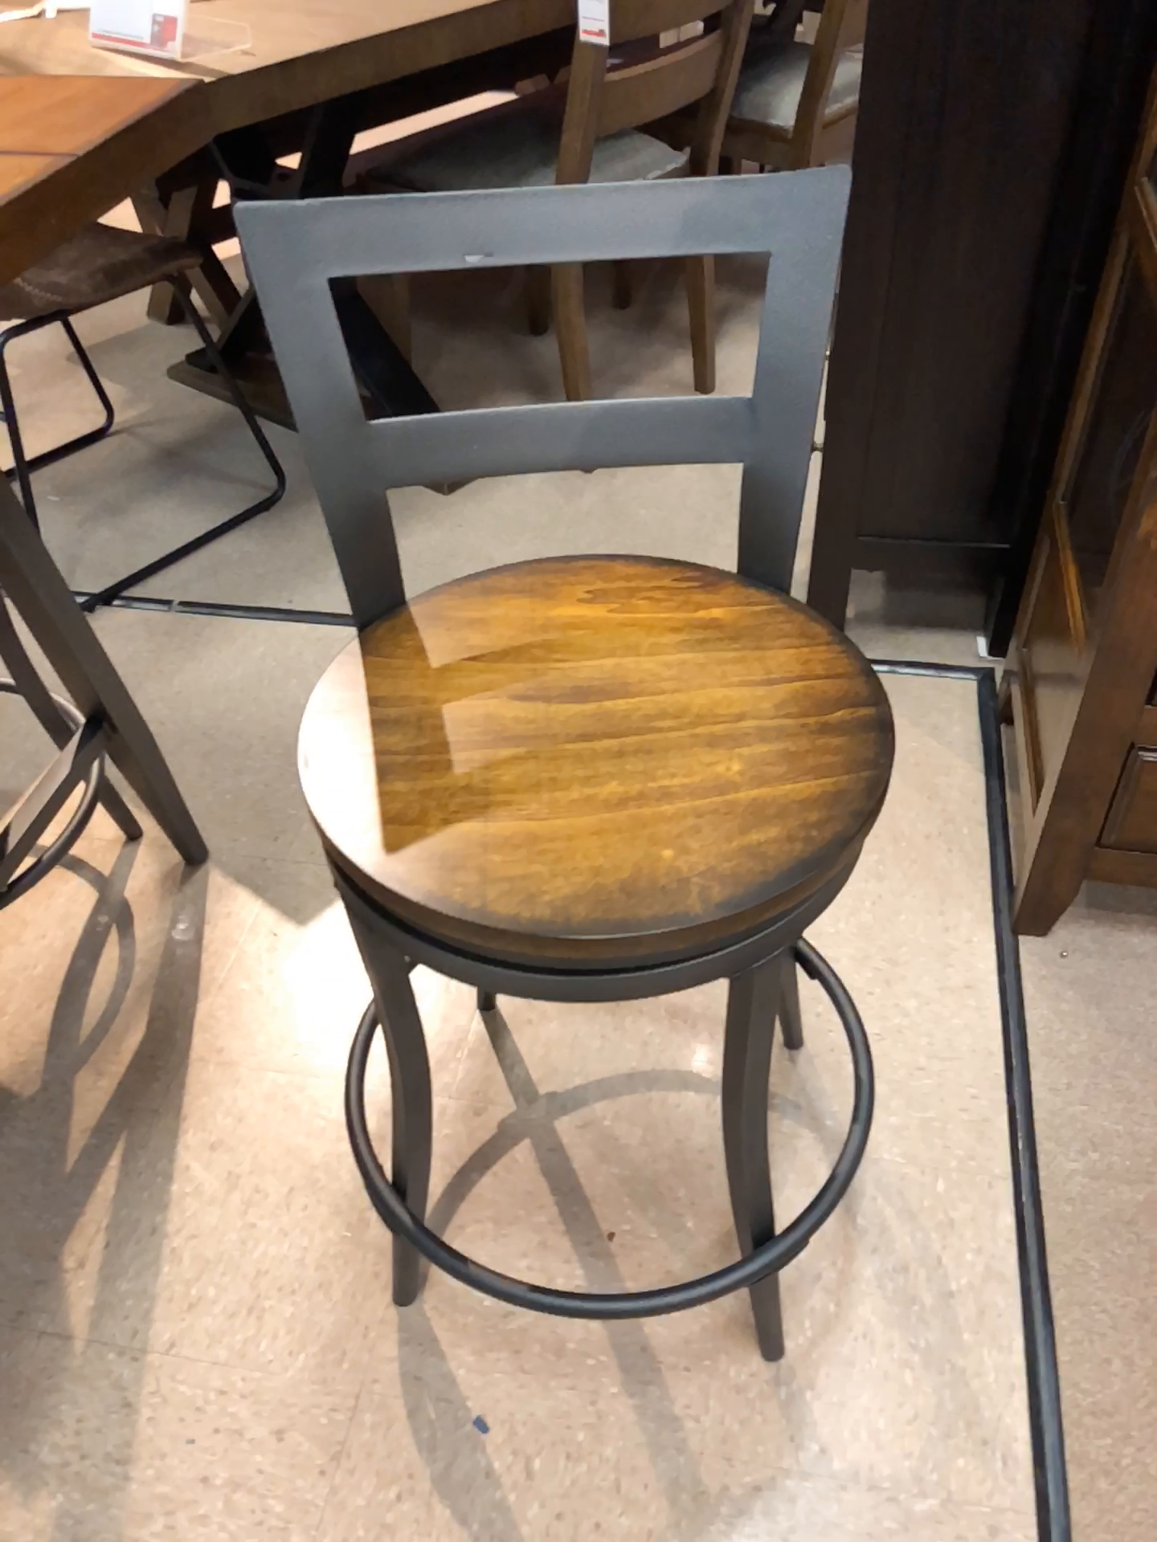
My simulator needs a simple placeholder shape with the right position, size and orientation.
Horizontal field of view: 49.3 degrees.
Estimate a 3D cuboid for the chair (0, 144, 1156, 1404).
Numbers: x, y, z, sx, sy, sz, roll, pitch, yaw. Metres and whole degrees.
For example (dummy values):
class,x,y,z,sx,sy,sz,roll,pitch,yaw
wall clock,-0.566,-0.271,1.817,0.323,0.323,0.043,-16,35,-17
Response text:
class,x,y,z,sx,sy,sz,roll,pitch,yaw
chair,0.001,0.046,0.943,0.490,0.805,0.463,-4,42,-2
